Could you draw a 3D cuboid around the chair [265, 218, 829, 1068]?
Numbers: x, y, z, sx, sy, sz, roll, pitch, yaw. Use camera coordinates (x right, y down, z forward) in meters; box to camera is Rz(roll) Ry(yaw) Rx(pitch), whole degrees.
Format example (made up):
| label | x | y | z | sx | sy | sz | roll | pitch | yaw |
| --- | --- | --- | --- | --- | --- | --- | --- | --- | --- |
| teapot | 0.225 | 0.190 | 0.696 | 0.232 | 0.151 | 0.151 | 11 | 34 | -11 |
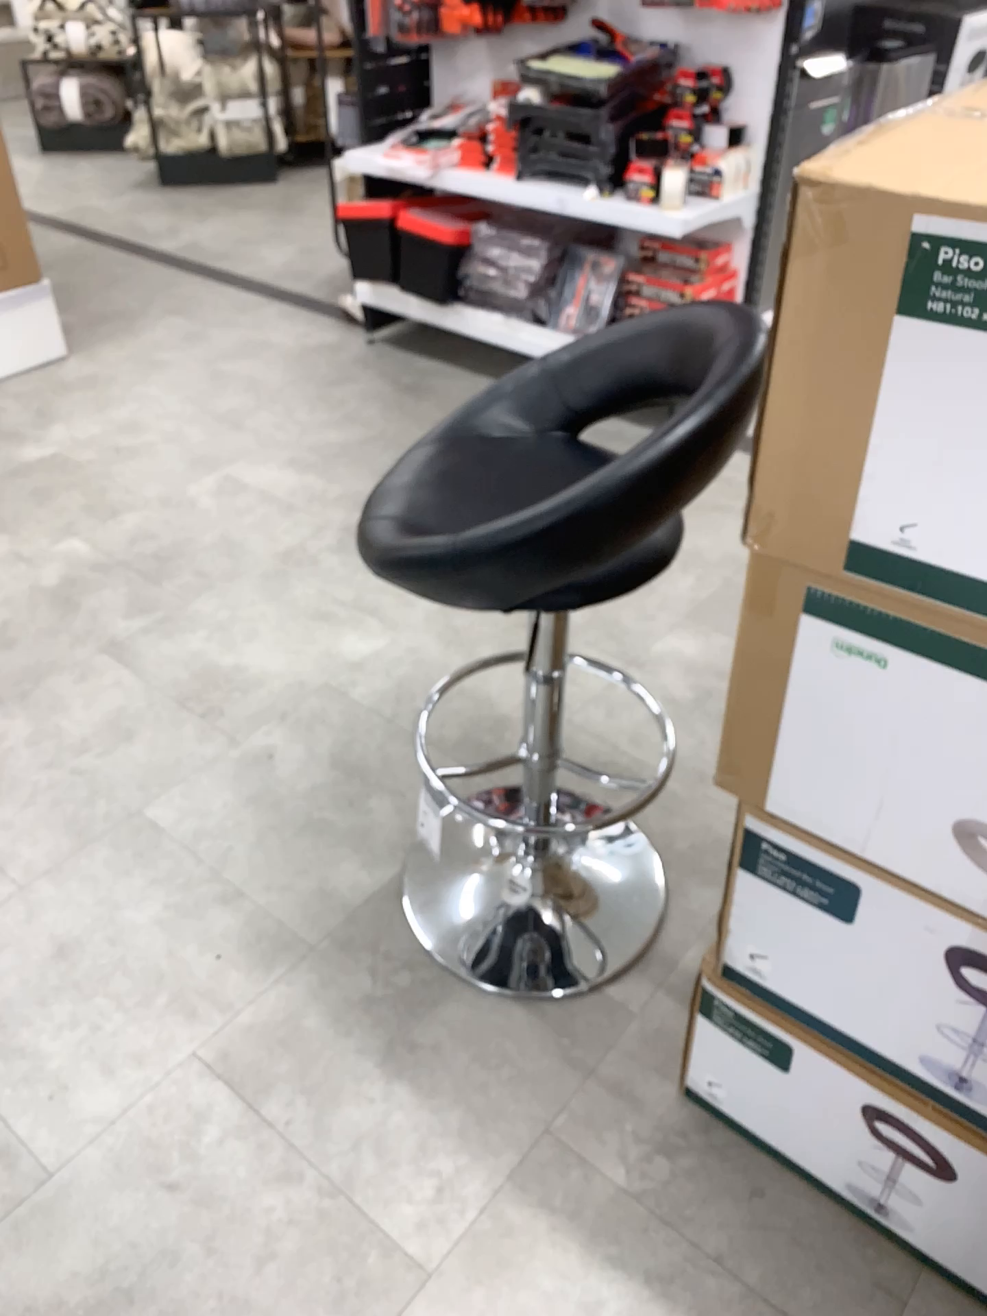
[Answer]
| label | x | y | z | sx | sy | sz | roll | pitch | yaw |
| --- | --- | --- | --- | --- | --- | --- | --- | --- | --- |
| chair | 0.082 | -0.001 | 1.342 | 0.483 | 0.933 | 0.514 | 9 | 38 | 9 |
